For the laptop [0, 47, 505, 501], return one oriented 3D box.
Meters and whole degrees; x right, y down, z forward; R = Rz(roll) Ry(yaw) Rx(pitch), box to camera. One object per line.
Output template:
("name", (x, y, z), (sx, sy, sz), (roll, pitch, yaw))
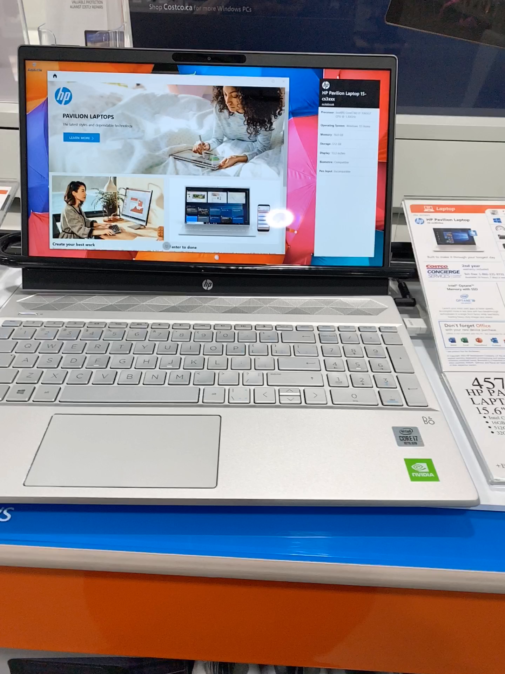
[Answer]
("laptop", (-0.036, -0.082, 0.372), (0.332, 0.175, 0.335), (1, 35, -1))
